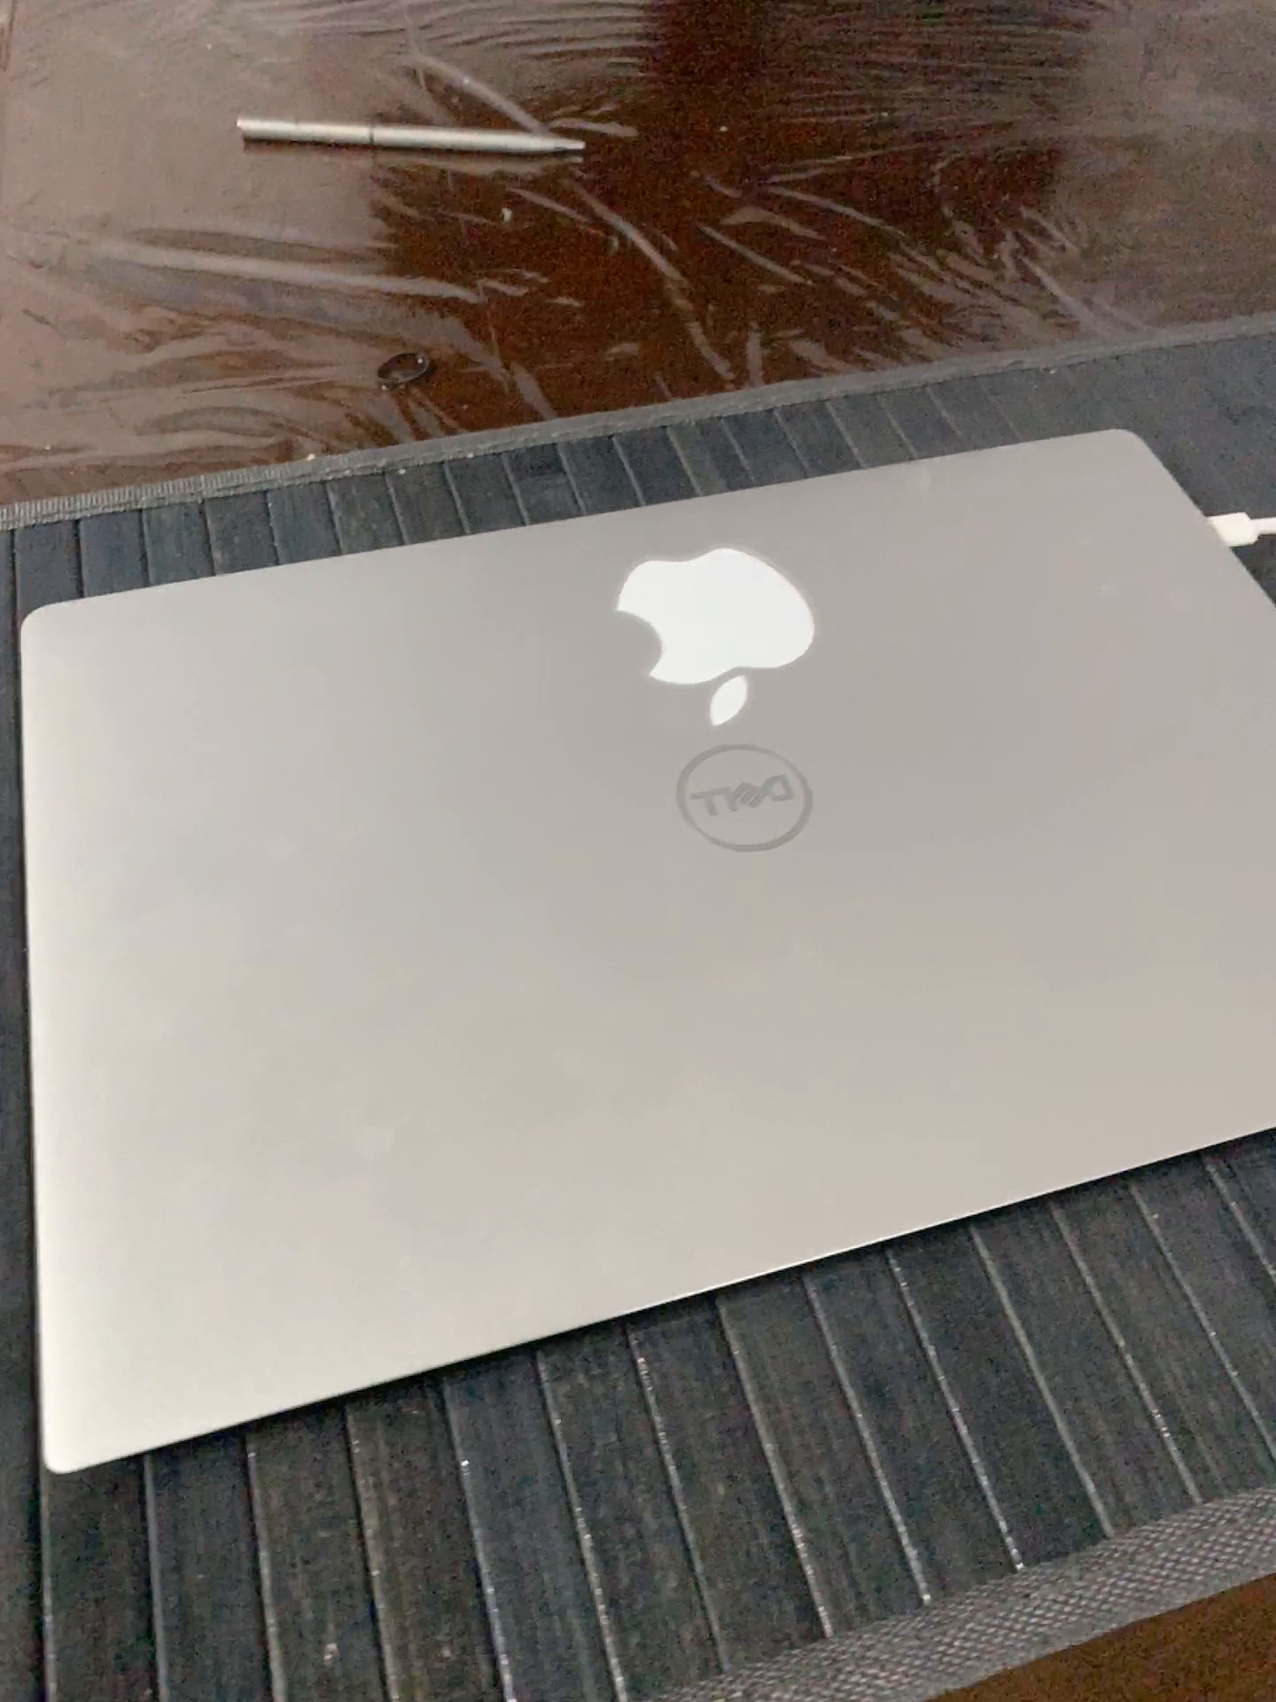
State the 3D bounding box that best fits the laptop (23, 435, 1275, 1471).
[{"bbox_3d":[0.015,-0.010,0.276,0.271,0.001,0.189,-13,55,-11],"label":"laptop"}]
